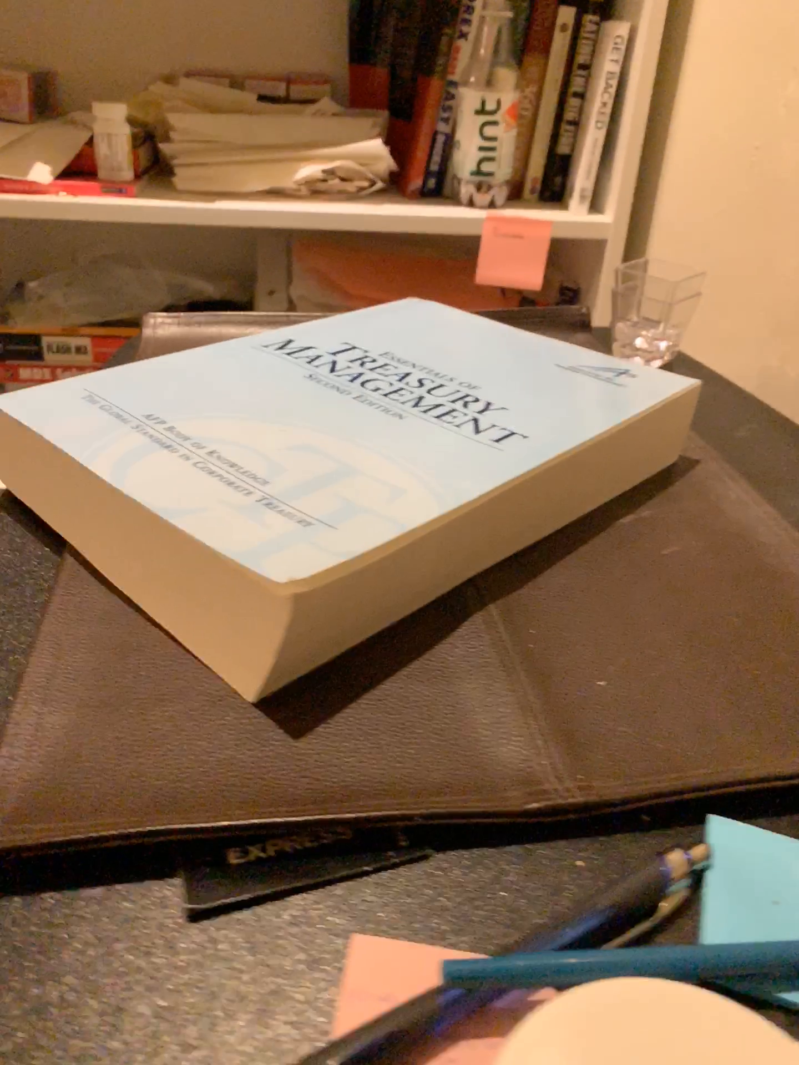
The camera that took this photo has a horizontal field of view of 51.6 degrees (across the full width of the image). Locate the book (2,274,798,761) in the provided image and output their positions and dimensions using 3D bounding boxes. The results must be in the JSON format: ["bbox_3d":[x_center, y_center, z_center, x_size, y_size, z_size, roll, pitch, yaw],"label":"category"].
[{"bbox_3d":[0.013,-0.050,0.395,0.301,0.060,0.221,-25,41,-39],"label":"book"}]
